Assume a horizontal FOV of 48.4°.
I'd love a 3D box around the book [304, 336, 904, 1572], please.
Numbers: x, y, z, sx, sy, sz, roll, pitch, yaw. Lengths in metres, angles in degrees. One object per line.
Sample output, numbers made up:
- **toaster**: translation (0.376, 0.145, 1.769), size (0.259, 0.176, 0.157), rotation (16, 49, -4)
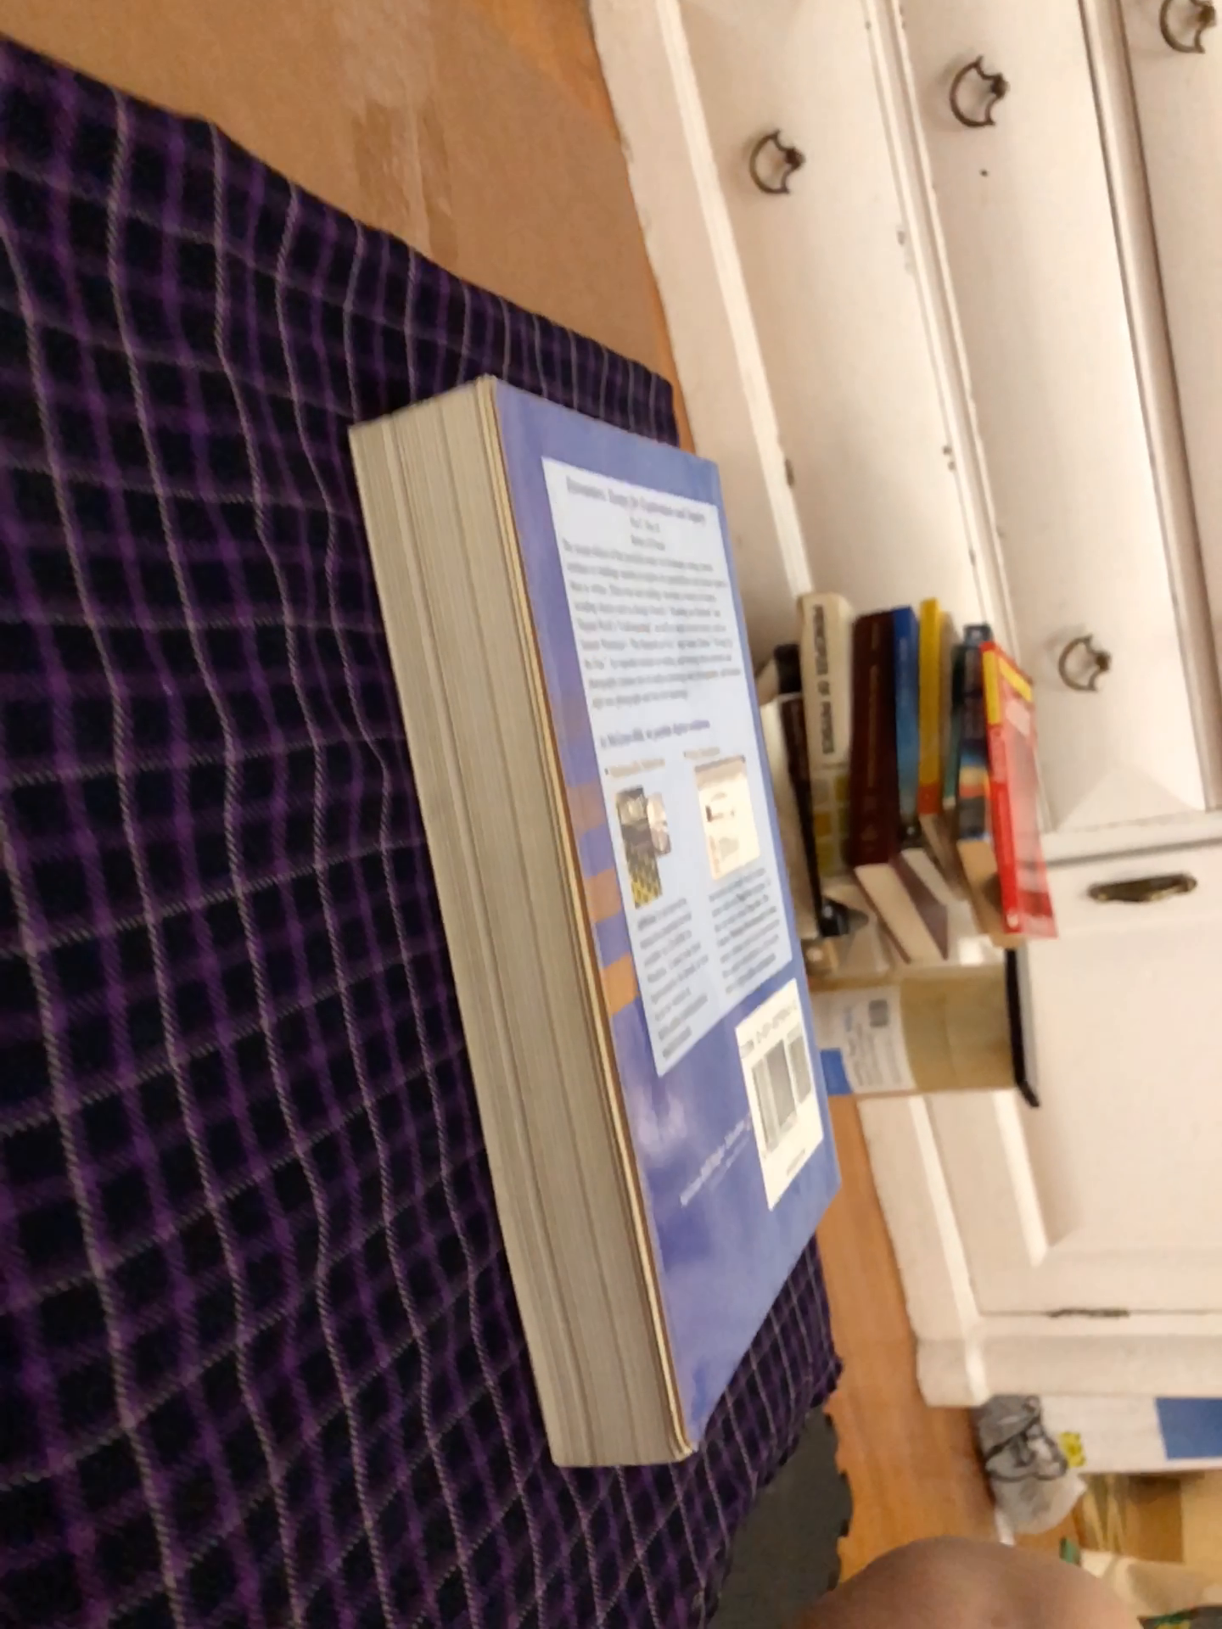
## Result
- **book**: translation (0.017, 0.020, 0.346), size (0.181, 0.040, 0.240), rotation (-22, 102, -66)
